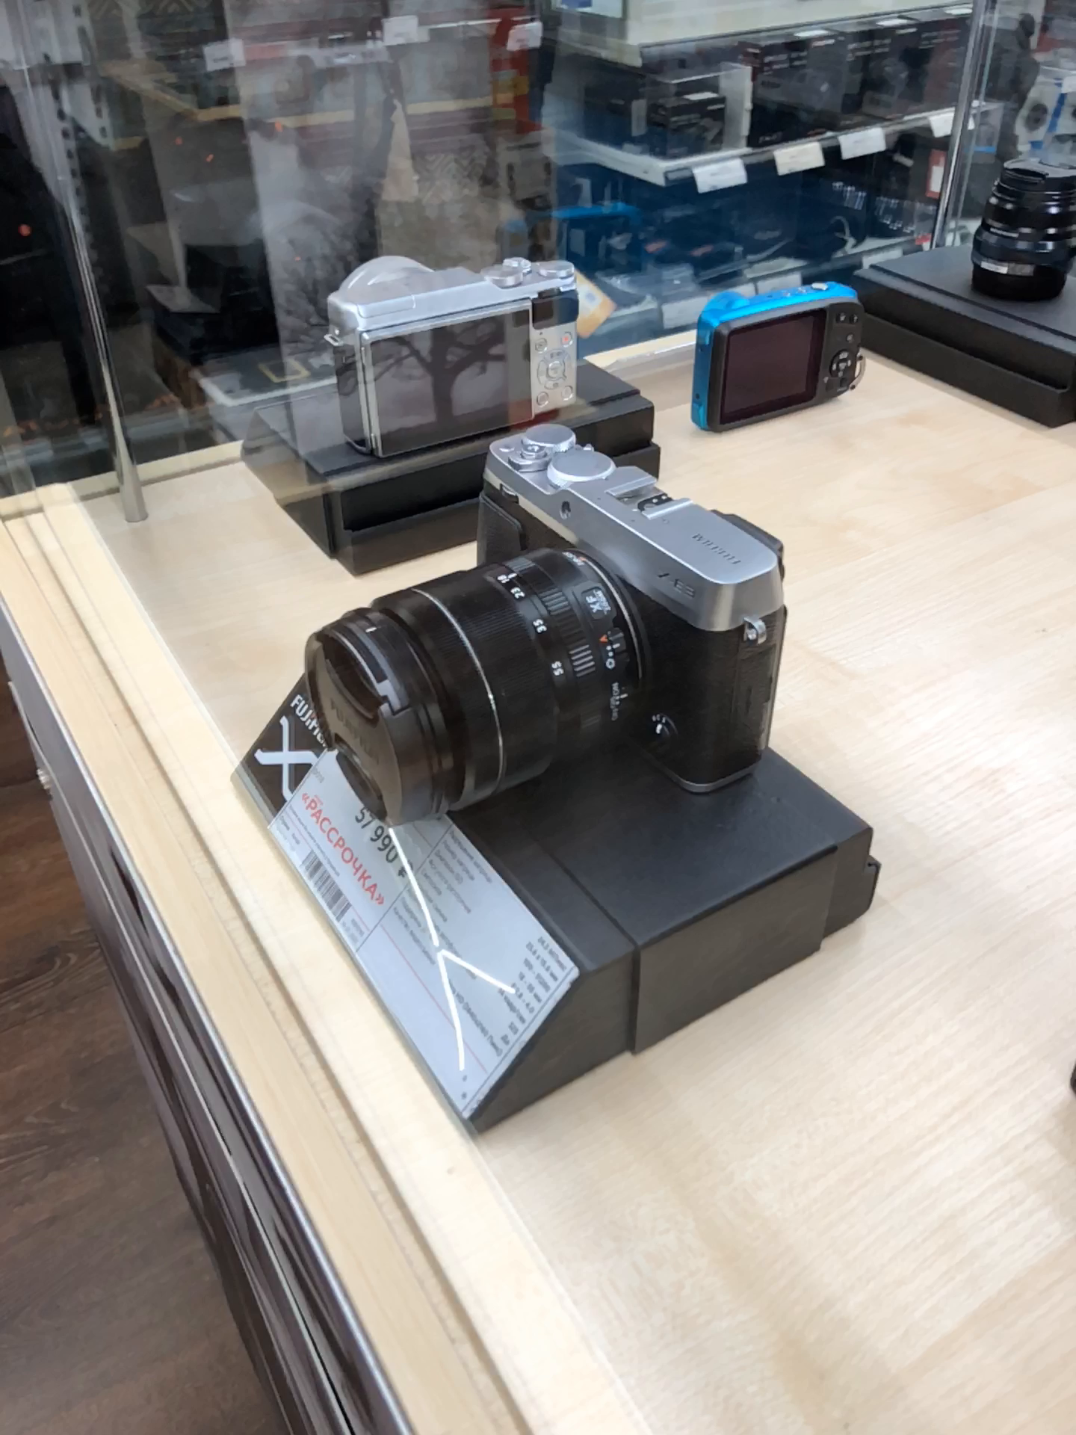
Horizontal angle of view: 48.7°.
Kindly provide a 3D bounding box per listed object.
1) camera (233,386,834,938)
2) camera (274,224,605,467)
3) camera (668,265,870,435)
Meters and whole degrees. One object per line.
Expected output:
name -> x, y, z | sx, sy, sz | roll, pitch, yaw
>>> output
camera -> -0.006, -0.027, 0.354 | 0.116, 0.080, 0.132 | -21, 42, -24
camera -> -0.045, -0.181, 0.567 | 0.132, 0.068, 0.077 | -21, 42, -25
camera -> 0.127, -0.204, 0.656 | 0.101, 0.064, 0.036 | -19, 43, -22
